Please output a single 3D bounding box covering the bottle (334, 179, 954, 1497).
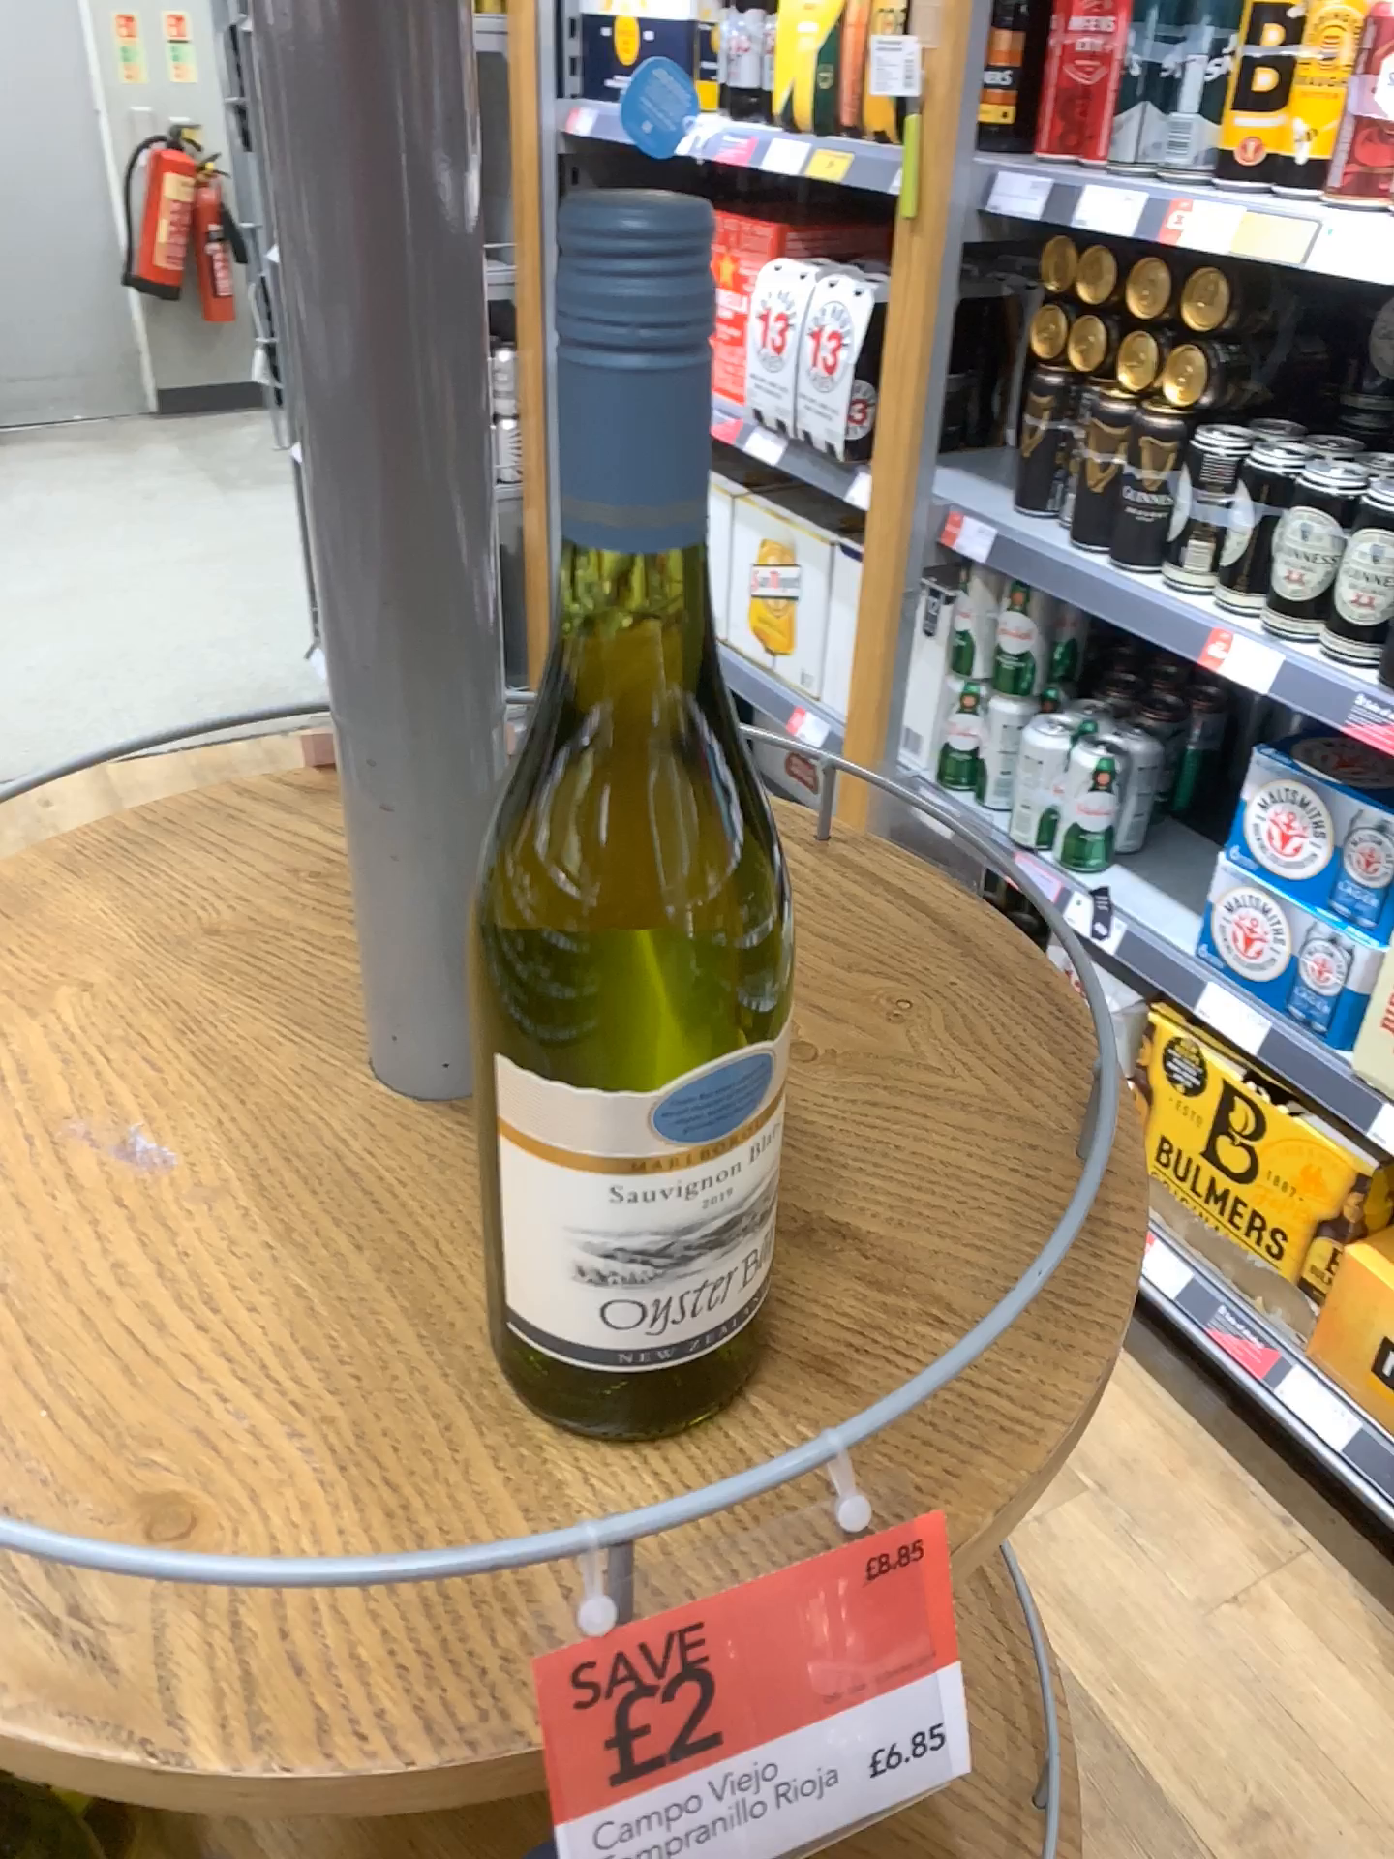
[{"bbox_3d":[-0.015,-0.009,0.328,0.080,0.284,0.081,1,32,-1],"label":"bottle"}]
